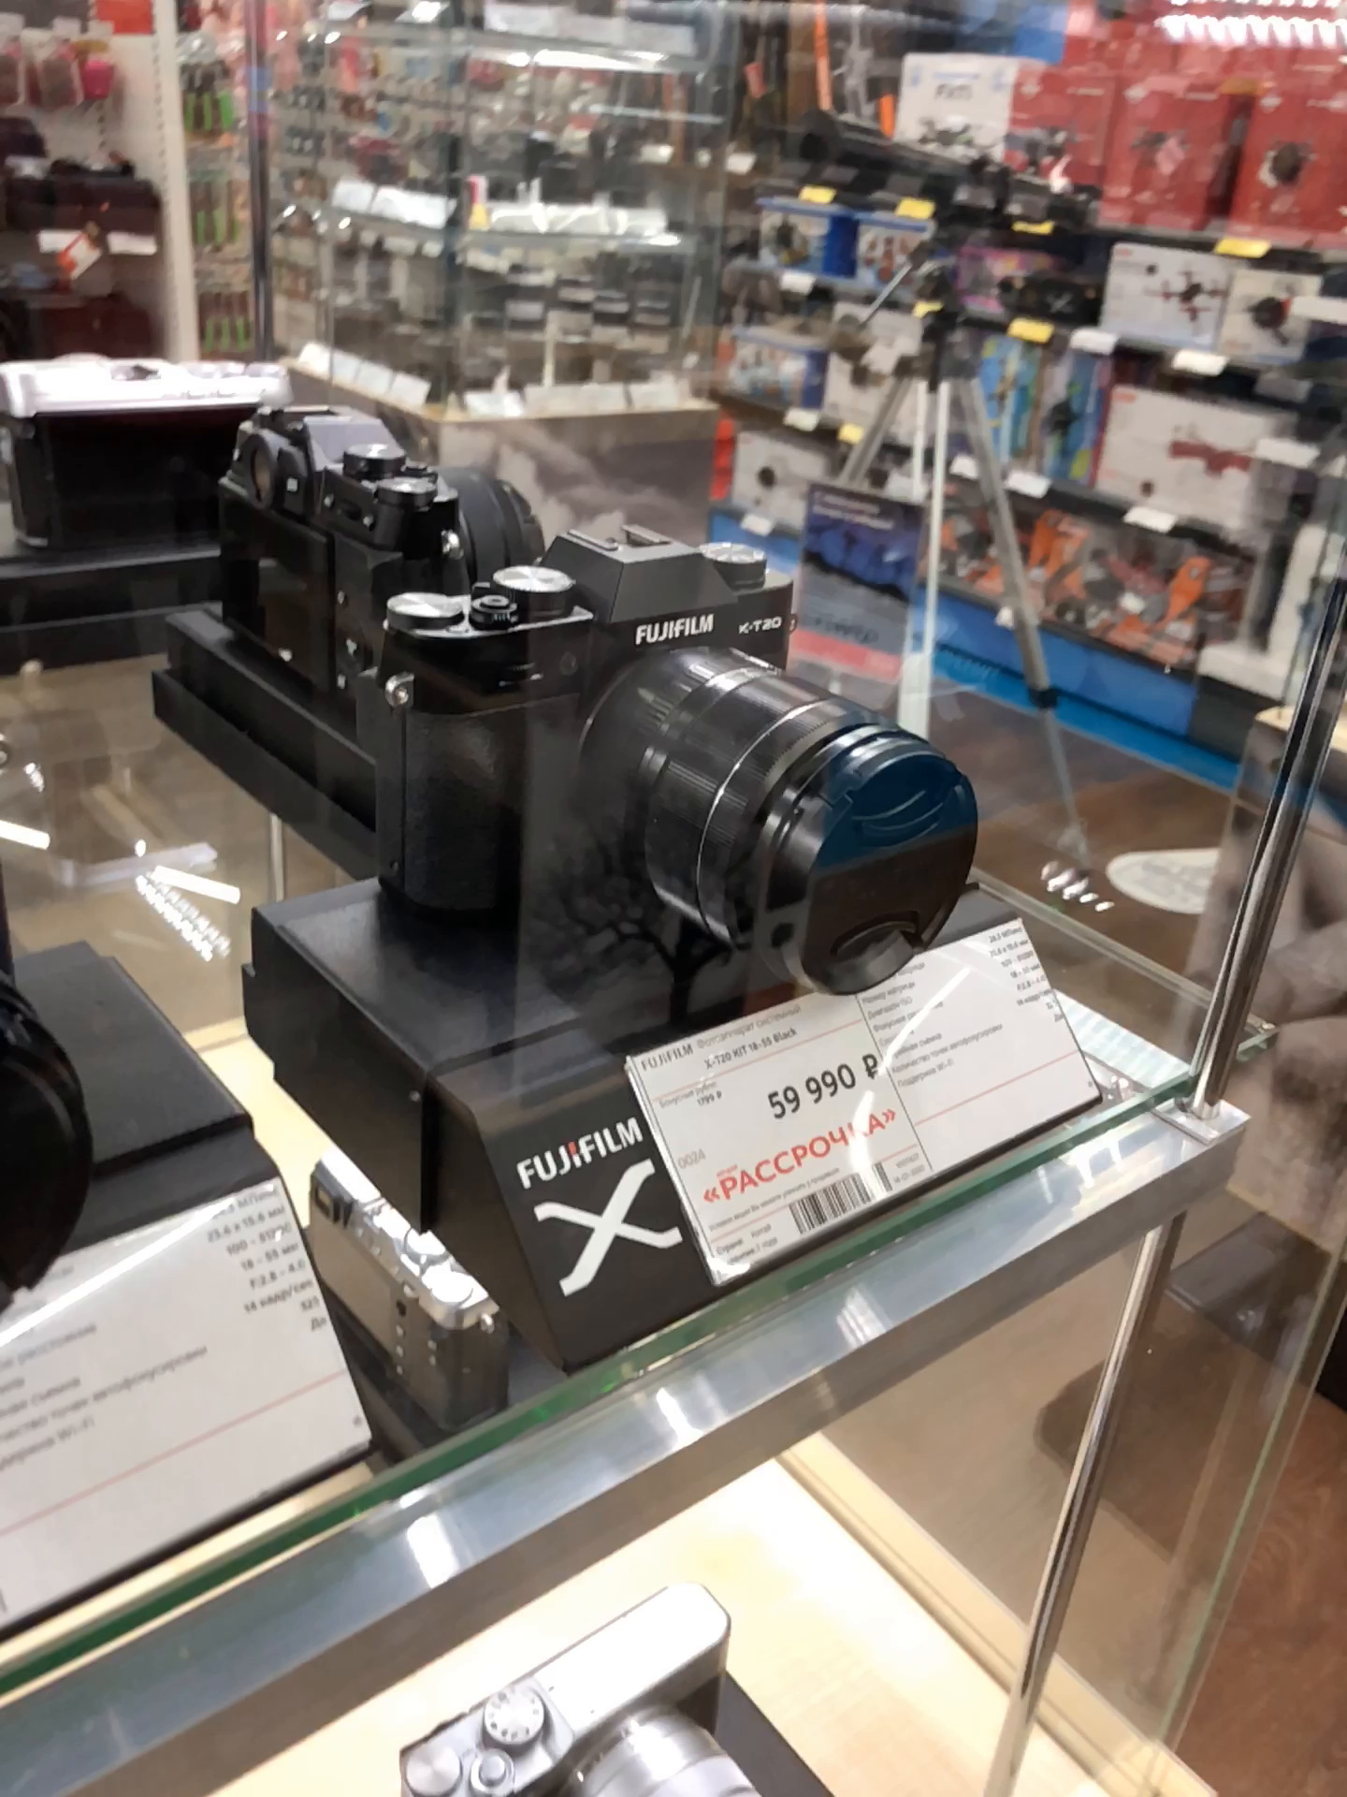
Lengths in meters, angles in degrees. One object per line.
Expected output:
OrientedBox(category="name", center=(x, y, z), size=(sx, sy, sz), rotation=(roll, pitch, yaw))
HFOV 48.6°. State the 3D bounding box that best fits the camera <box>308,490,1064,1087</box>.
OrientedBox(category="camera", center=(-0.001, -0.038, 0.353), size=(0.121, 0.081, 0.121), rotation=(-17, 35, -37))
